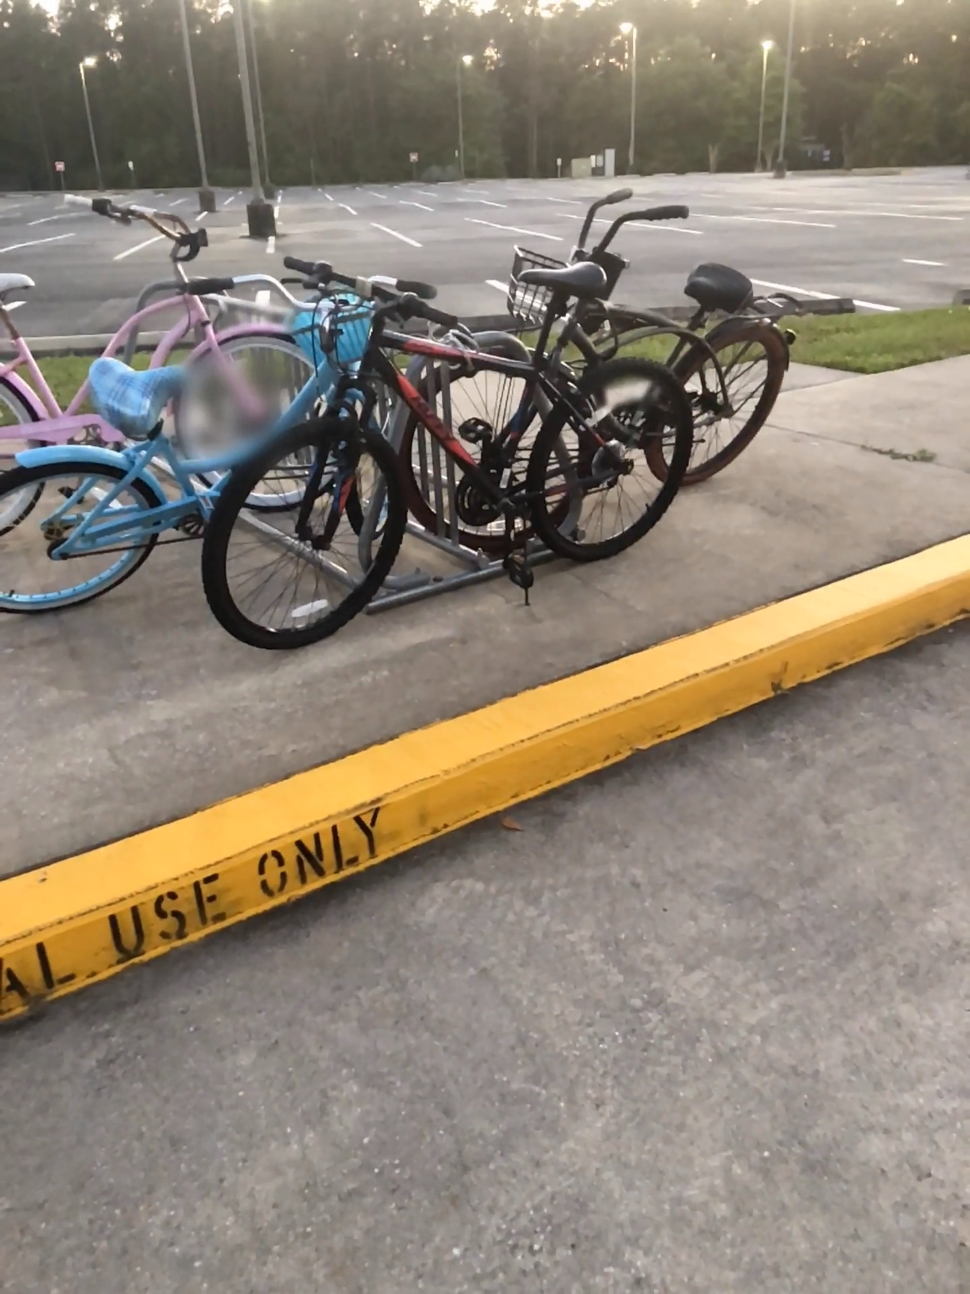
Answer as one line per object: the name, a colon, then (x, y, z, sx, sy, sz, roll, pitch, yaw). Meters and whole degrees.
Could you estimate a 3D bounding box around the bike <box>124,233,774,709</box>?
bike: (-0.004, -0.595, 2.881, 1.632, 0.932, 0.626, -18, 28, -34)
